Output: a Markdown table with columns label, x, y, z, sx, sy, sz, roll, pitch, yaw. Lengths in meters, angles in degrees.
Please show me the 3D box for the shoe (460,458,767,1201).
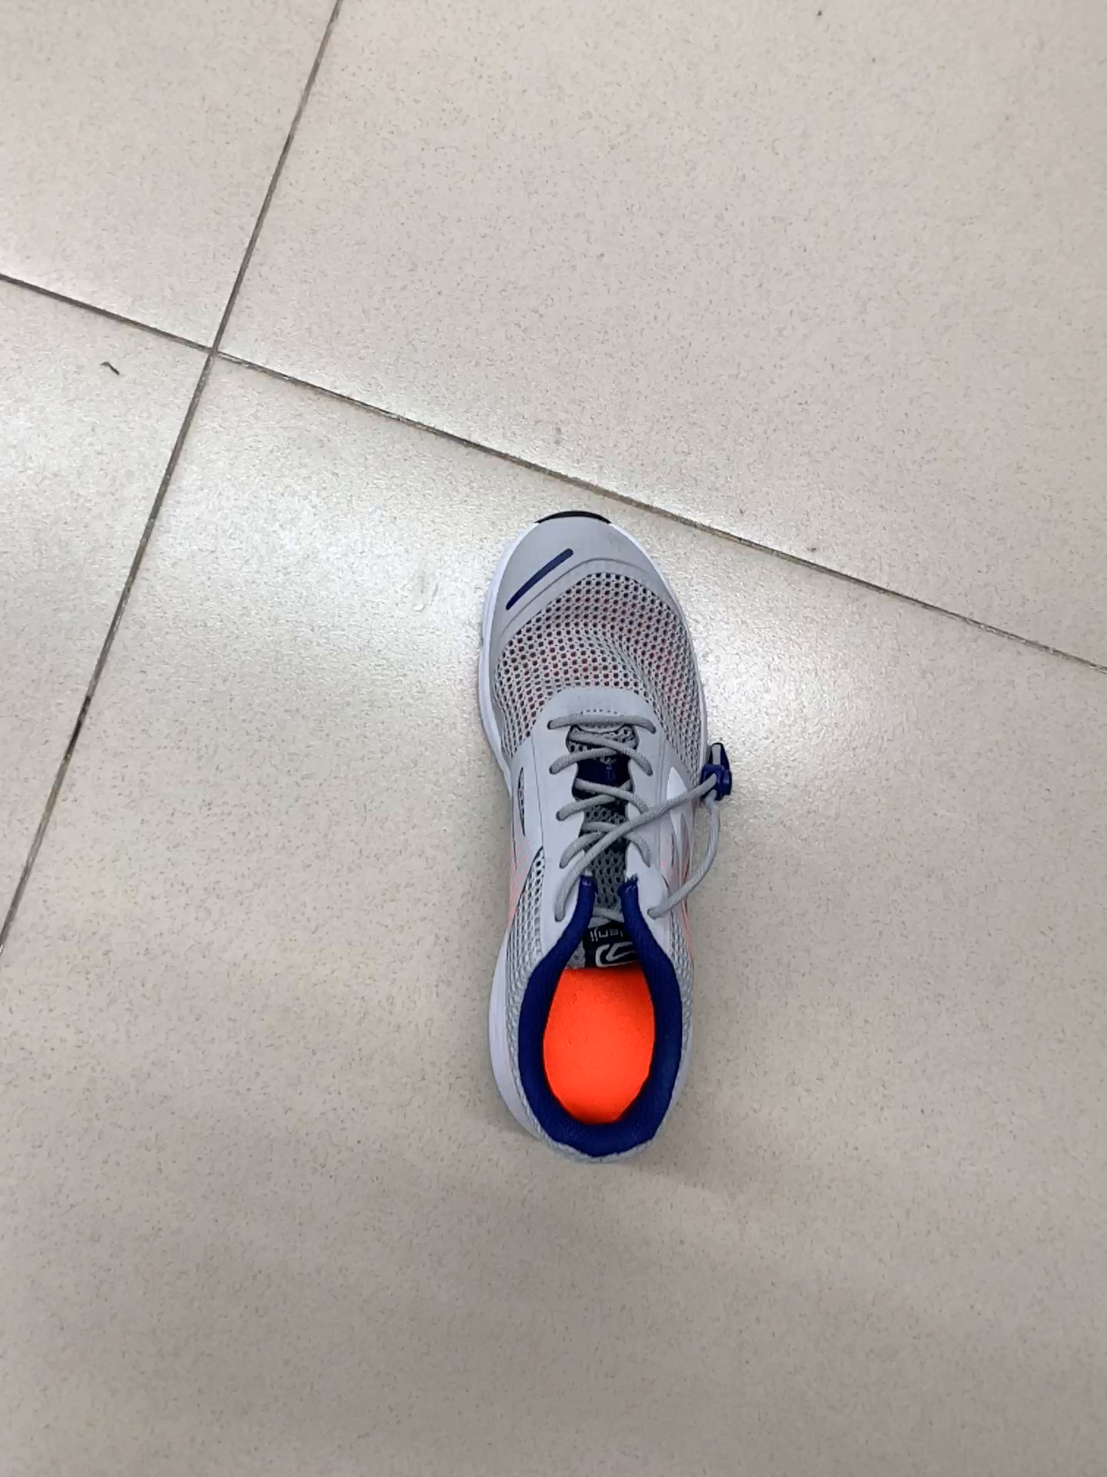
| label | x | y | z | sx | sy | sz | roll | pitch | yaw |
| --- | --- | --- | --- | --- | --- | --- | --- | --- | --- |
| shoe | 0.017 | 0.032 | 0.436 | 0.100 | 0.100 | 0.250 | 2 | 88 | -5 |
